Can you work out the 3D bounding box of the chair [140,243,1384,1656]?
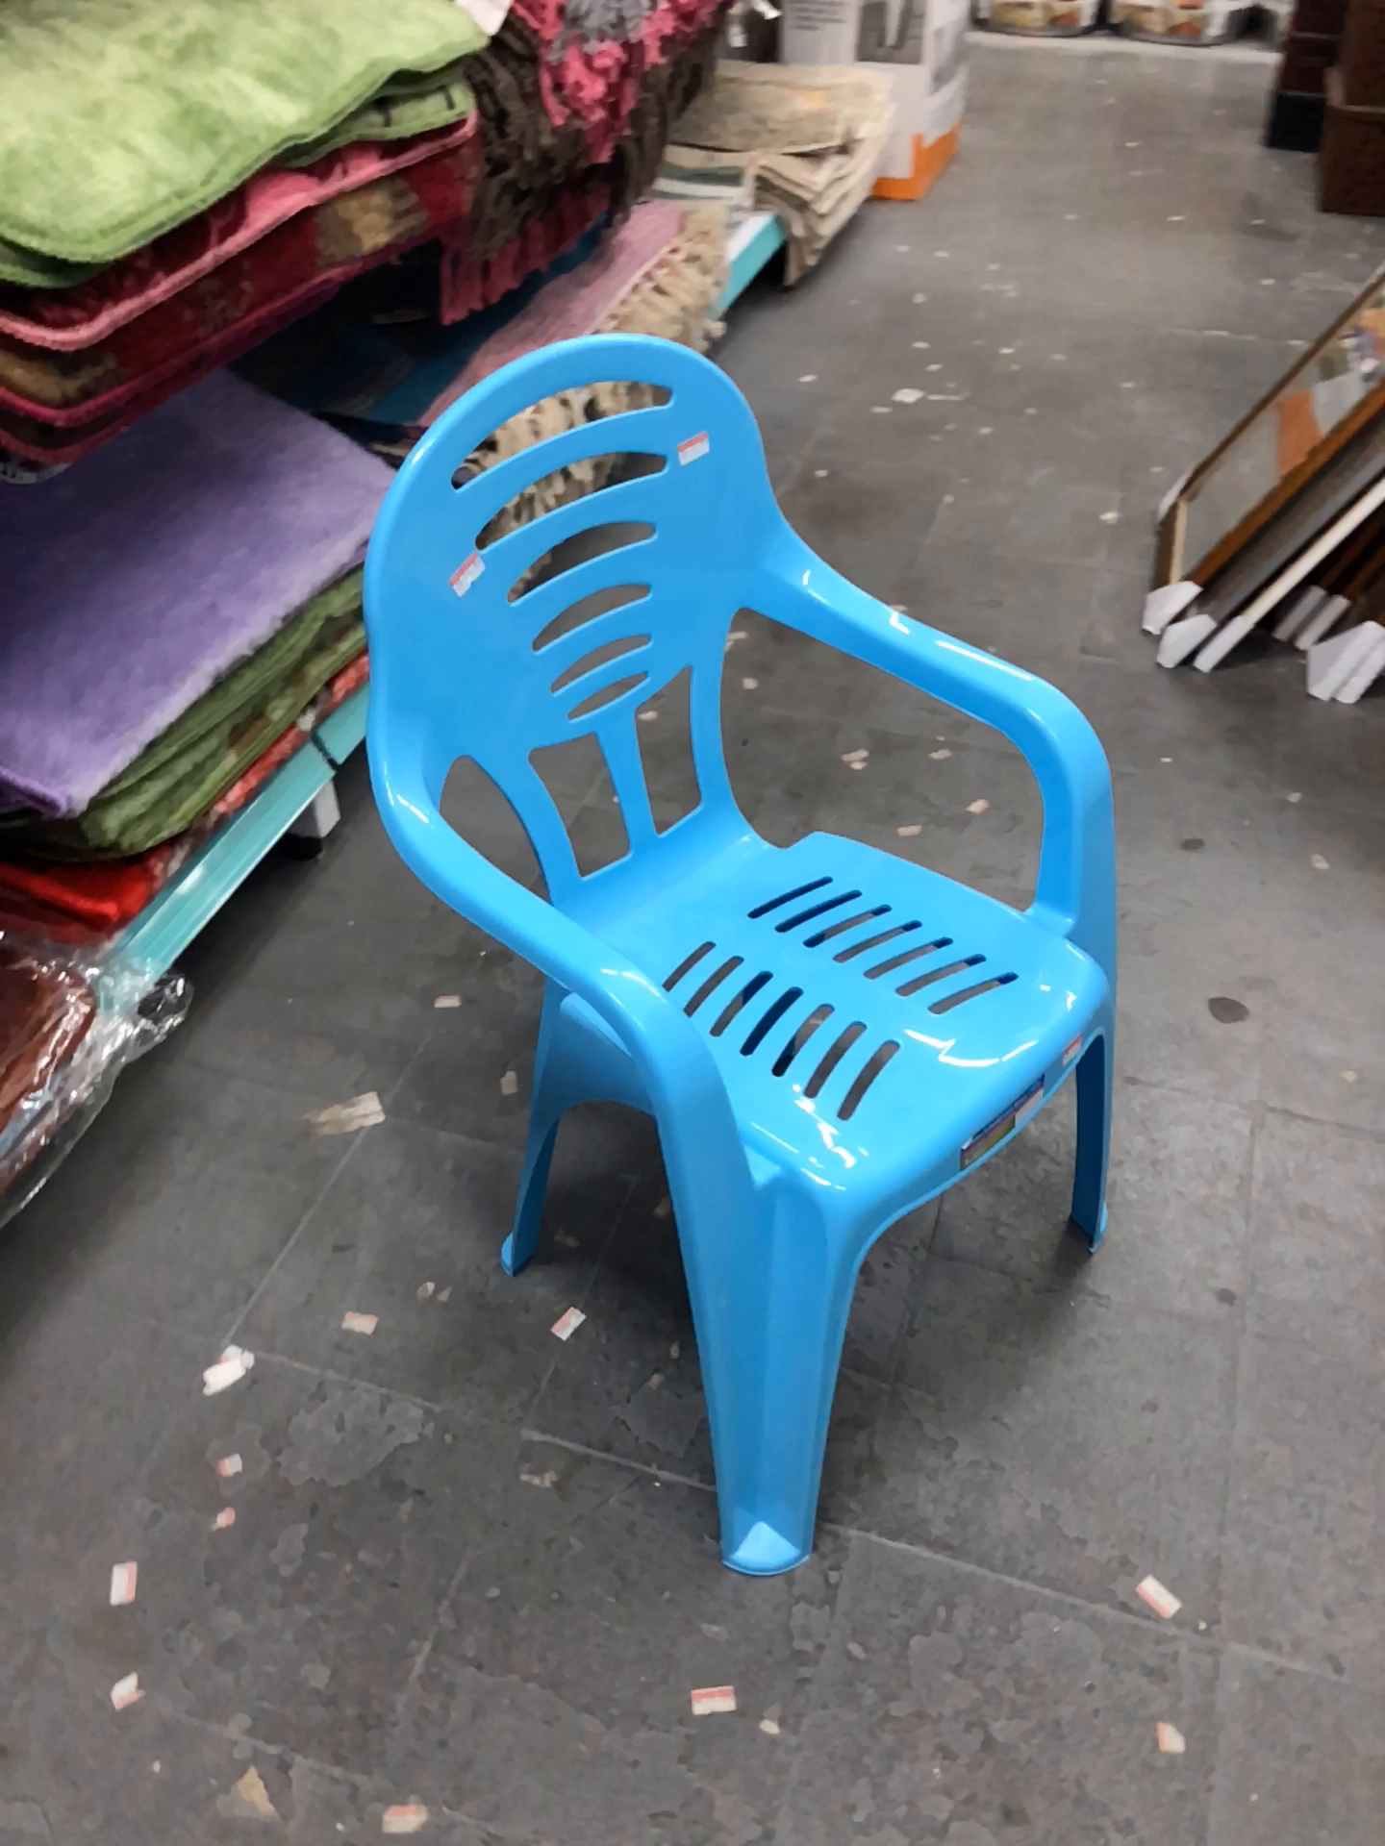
[{"bbox_3d":[0.042,-0.008,0.817,0.391,0.516,0.402,33,49,32],"label":"chair"}]
